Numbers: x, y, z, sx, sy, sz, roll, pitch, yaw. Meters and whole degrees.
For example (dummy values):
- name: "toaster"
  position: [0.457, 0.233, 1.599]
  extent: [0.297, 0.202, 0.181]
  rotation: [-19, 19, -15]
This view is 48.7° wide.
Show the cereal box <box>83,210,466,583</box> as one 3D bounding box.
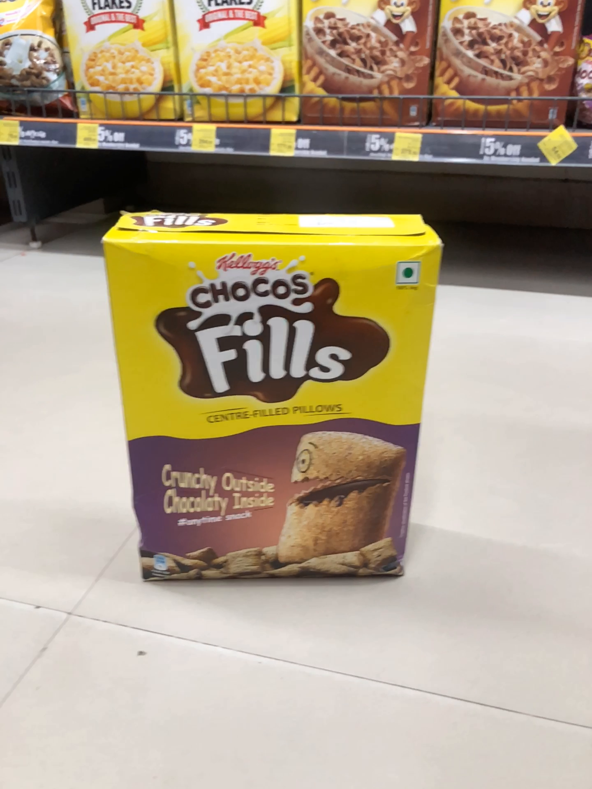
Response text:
- name: "cereal box"
  position: [-0.011, 0.005, 0.409]
  extent: [0.190, 0.219, 0.080]
  rotation: [0, 26, 0]
